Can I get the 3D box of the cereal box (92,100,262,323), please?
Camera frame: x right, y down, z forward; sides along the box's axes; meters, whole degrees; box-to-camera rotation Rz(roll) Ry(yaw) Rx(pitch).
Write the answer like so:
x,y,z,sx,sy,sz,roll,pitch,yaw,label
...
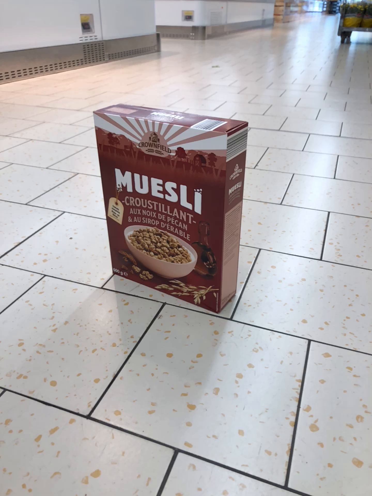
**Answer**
x,y,z,sx,sy,sz,roll,pitch,yaw,label
-0.015,-0.051,0.541,0.200,0.249,0.060,18,34,29,cereal box
